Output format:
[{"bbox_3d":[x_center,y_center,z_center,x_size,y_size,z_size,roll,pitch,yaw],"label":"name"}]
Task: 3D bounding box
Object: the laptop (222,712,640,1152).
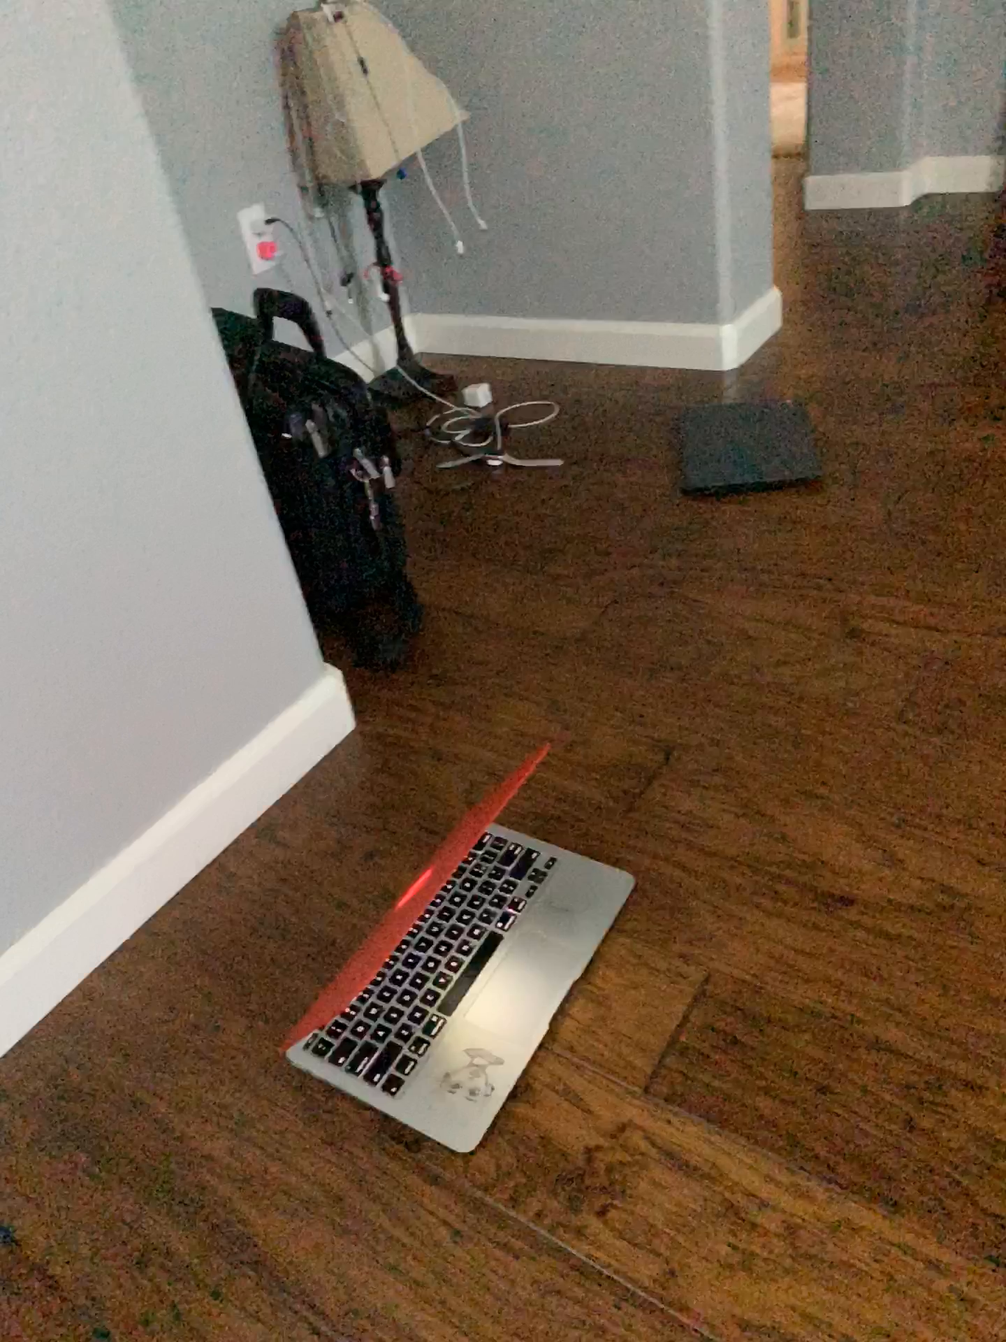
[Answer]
[{"bbox_3d":[-0.042,0.197,0.871,0.198,0.139,0.303,12,40,29],"label":"laptop"}]
